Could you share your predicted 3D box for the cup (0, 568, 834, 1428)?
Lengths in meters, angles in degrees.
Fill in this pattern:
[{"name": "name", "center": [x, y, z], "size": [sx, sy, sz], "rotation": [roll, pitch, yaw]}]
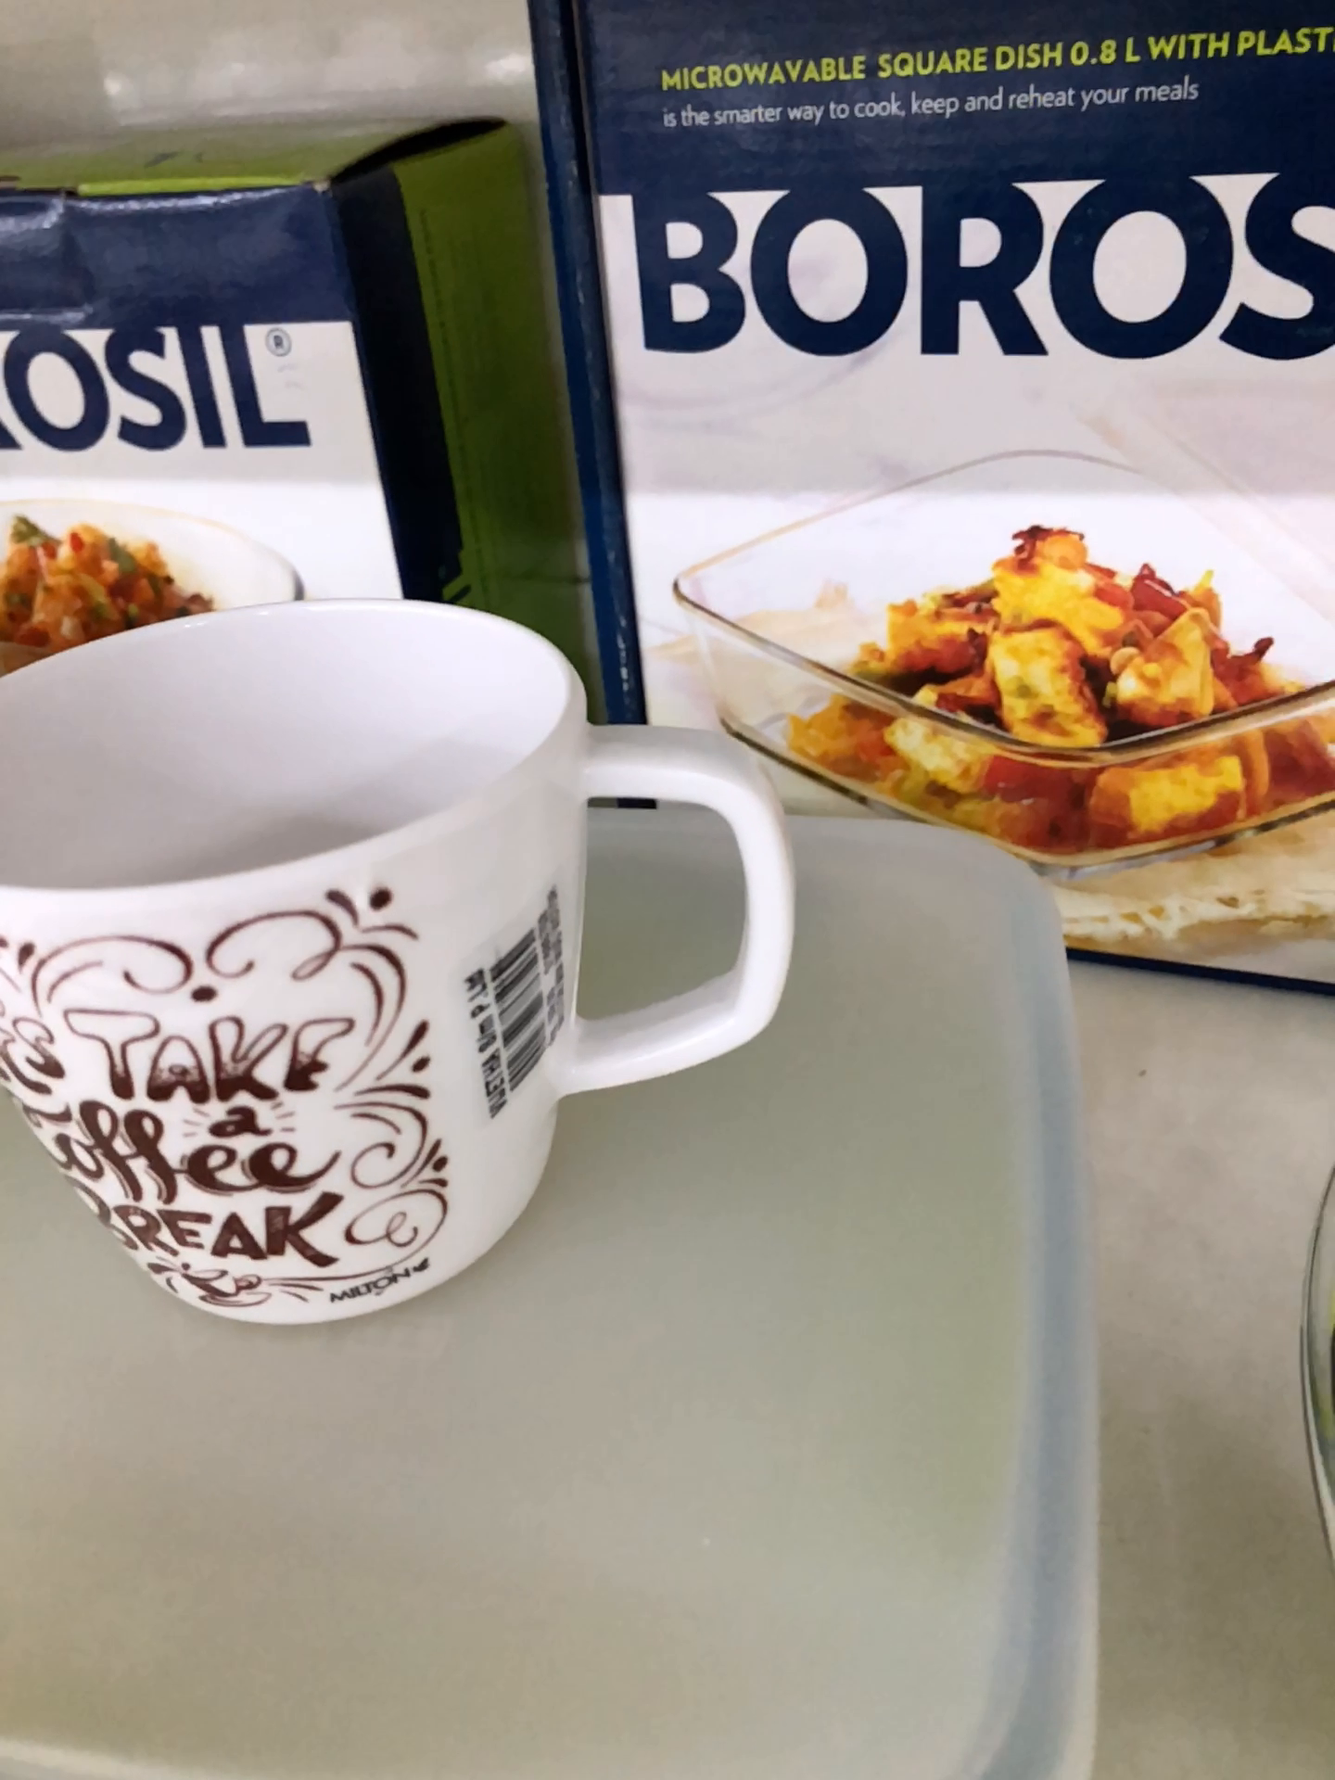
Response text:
[{"name": "cup", "center": [-0.032, 0.010, 0.175], "size": [0.100, 0.070, 0.070], "rotation": [-1, 31, 6]}]
